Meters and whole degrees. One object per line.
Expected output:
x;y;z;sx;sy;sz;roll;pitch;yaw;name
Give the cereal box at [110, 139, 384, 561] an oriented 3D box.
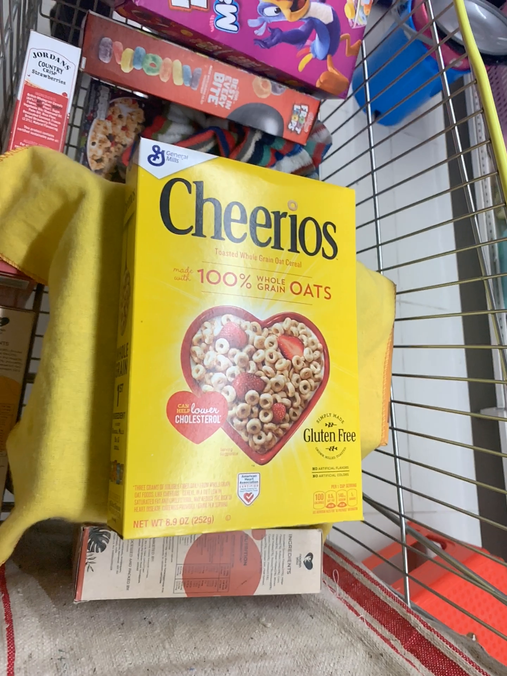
-0.001;0.010;0.400;0.190;0.060;0.270;5;80;-25;cereal box
